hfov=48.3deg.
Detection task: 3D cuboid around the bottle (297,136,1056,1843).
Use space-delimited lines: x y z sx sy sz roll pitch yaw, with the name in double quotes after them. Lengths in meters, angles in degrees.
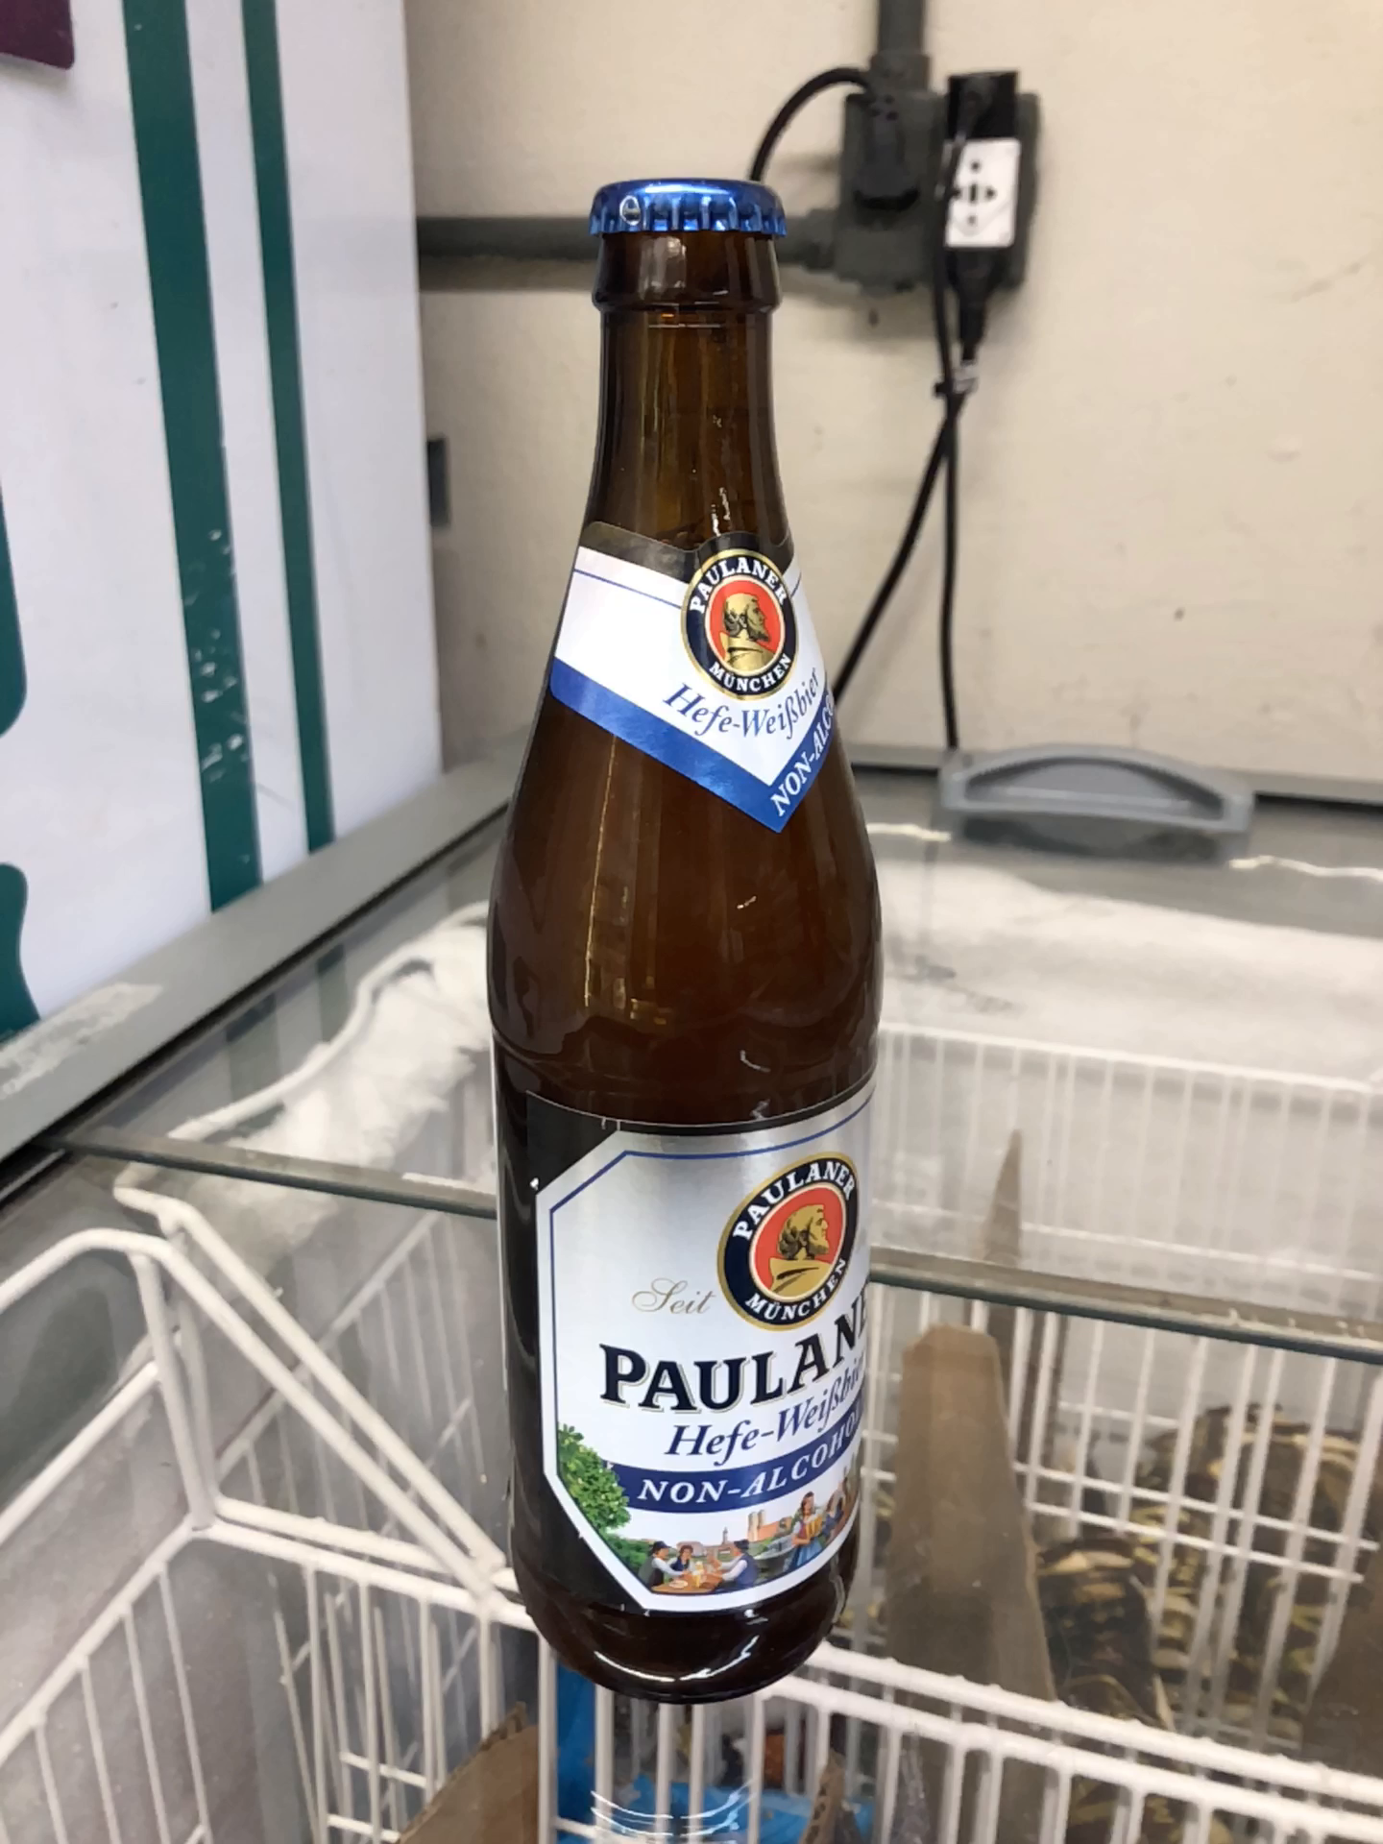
-0.006 0.016 0.253 0.080 0.248 0.070 -11 22 -29 "bottle"
